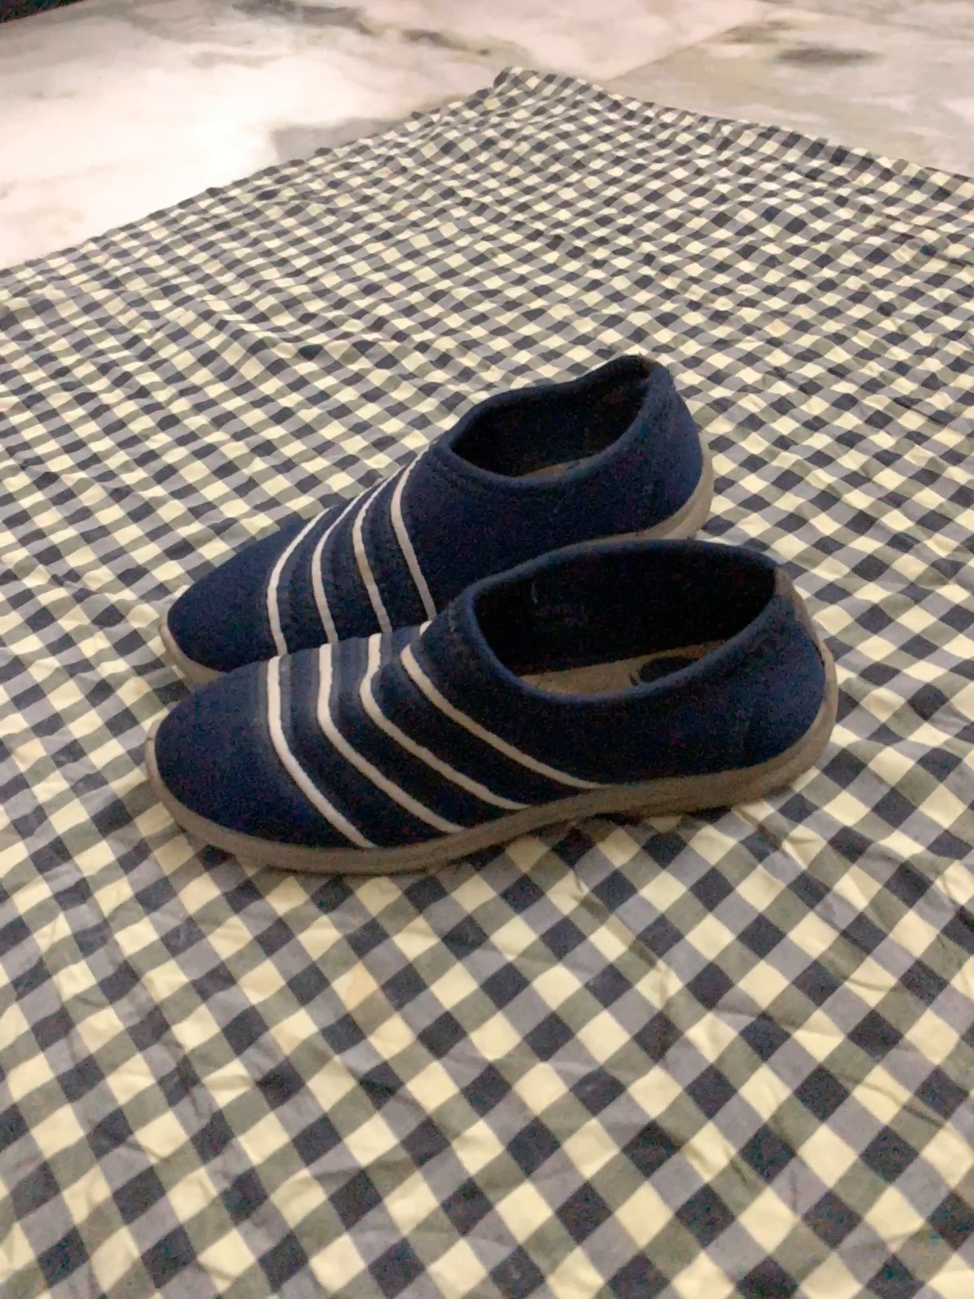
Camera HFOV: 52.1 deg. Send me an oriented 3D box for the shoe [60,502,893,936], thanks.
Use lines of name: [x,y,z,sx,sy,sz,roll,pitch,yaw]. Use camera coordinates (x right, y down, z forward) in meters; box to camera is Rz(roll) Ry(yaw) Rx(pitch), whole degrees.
shoe: [-0.003,0.027,0.364,0.250,0.099,0.091,-6,46,1]

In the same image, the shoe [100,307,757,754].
shoe: [-0.022,-0.056,0.432,0.250,0.089,0.091,-19,47,-11]
